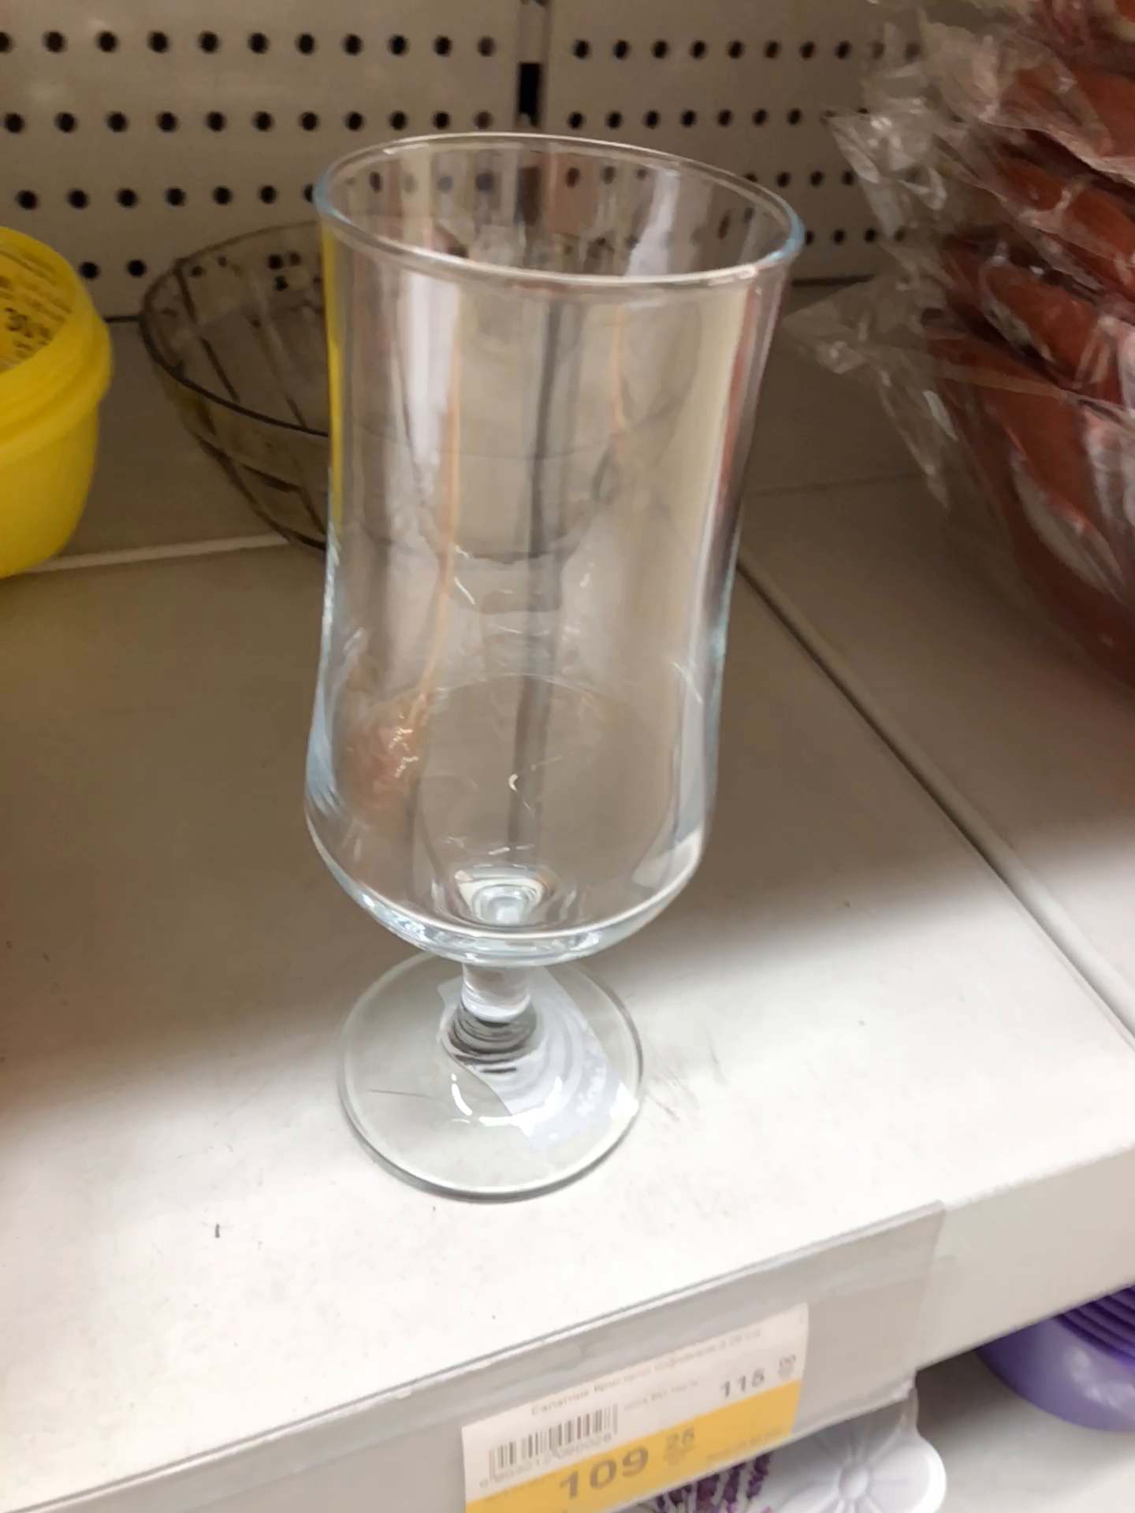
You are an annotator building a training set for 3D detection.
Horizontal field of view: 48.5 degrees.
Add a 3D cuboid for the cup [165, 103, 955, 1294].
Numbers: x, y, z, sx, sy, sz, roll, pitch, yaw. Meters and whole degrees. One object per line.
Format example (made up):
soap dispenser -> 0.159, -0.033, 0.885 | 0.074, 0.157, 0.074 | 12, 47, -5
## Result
cup -> -0.009, -0.001, 0.231 | 0.078, 0.194, 0.075 | 3, 39, -2
